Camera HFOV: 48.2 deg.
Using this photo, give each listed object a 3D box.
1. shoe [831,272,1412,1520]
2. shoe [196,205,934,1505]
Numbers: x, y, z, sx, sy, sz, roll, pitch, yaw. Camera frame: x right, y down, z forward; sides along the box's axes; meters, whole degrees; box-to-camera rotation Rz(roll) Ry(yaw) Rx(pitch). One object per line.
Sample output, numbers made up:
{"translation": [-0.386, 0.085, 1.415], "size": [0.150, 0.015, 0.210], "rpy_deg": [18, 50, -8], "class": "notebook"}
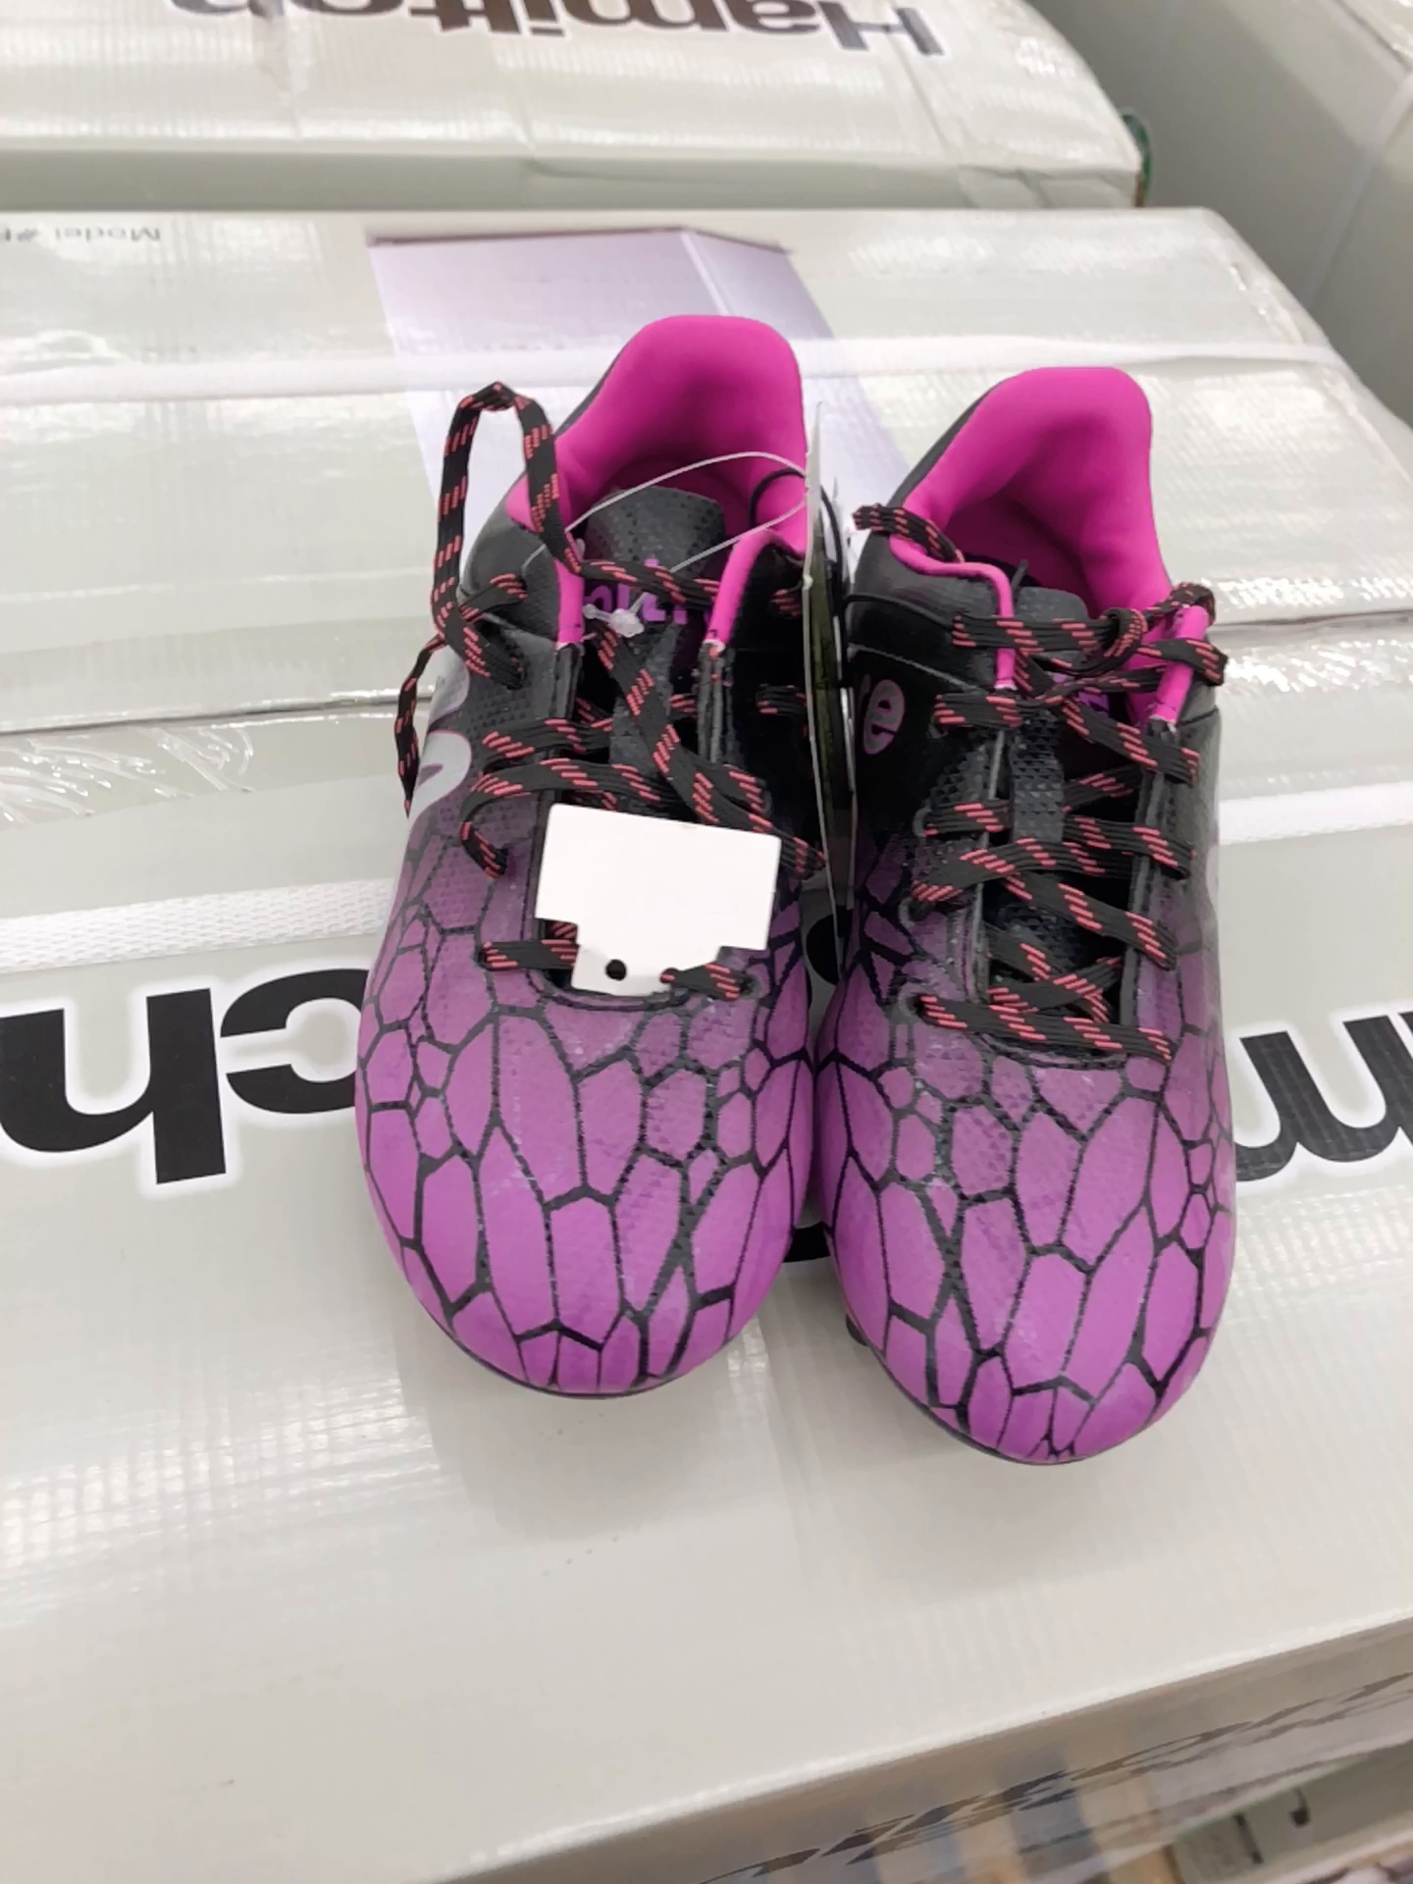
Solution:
{"translation": [0.070, -0.020, 0.279], "size": [0.080, 0.080, 0.210], "rpy_deg": [6, 52, -4], "class": "shoe"}
{"translation": [-0.014, -0.027, 0.267], "size": [0.080, 0.080, 0.210], "rpy_deg": [7, 52, -4], "class": "shoe"}
